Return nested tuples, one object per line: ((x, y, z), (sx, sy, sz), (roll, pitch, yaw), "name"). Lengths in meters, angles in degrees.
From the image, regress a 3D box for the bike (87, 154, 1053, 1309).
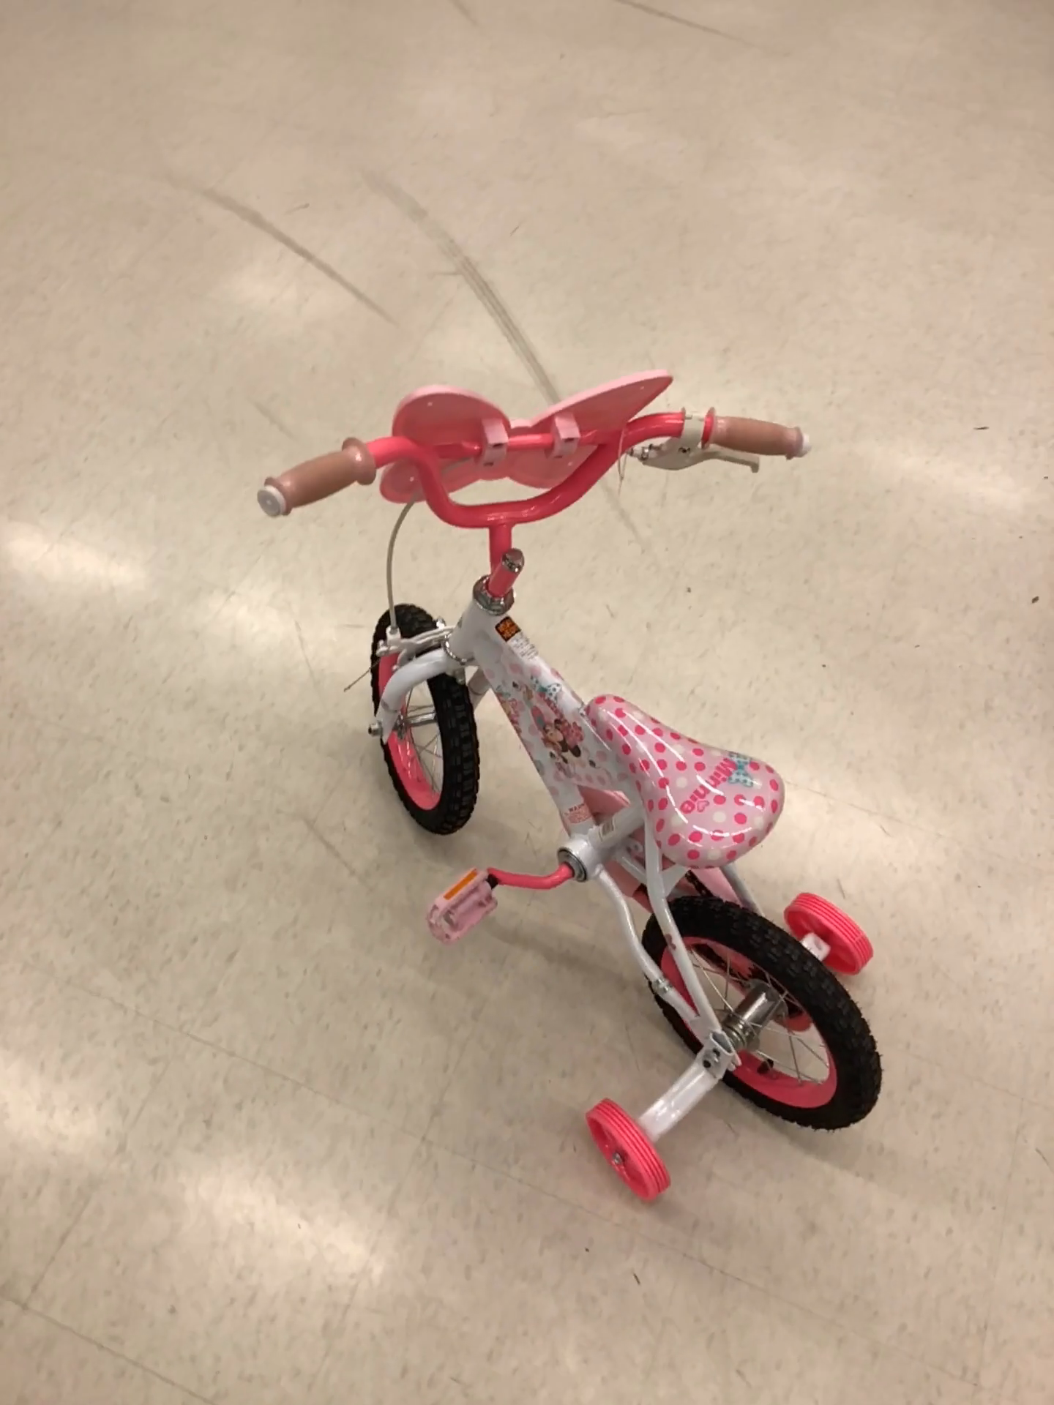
((0.088, 0.033, 1.139), (0.511, 0.681, 0.775), (-36, 62, -23), "bike")
